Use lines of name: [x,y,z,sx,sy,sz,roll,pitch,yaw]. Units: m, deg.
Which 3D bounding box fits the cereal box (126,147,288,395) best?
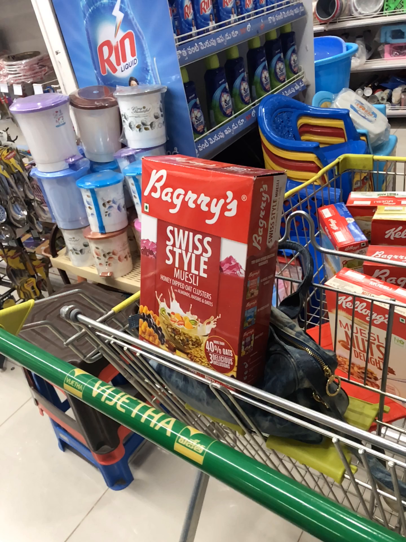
cereal box: [-0.009,-0.013,0.563,0.070,0.259,0.191,-12,24,-44]
